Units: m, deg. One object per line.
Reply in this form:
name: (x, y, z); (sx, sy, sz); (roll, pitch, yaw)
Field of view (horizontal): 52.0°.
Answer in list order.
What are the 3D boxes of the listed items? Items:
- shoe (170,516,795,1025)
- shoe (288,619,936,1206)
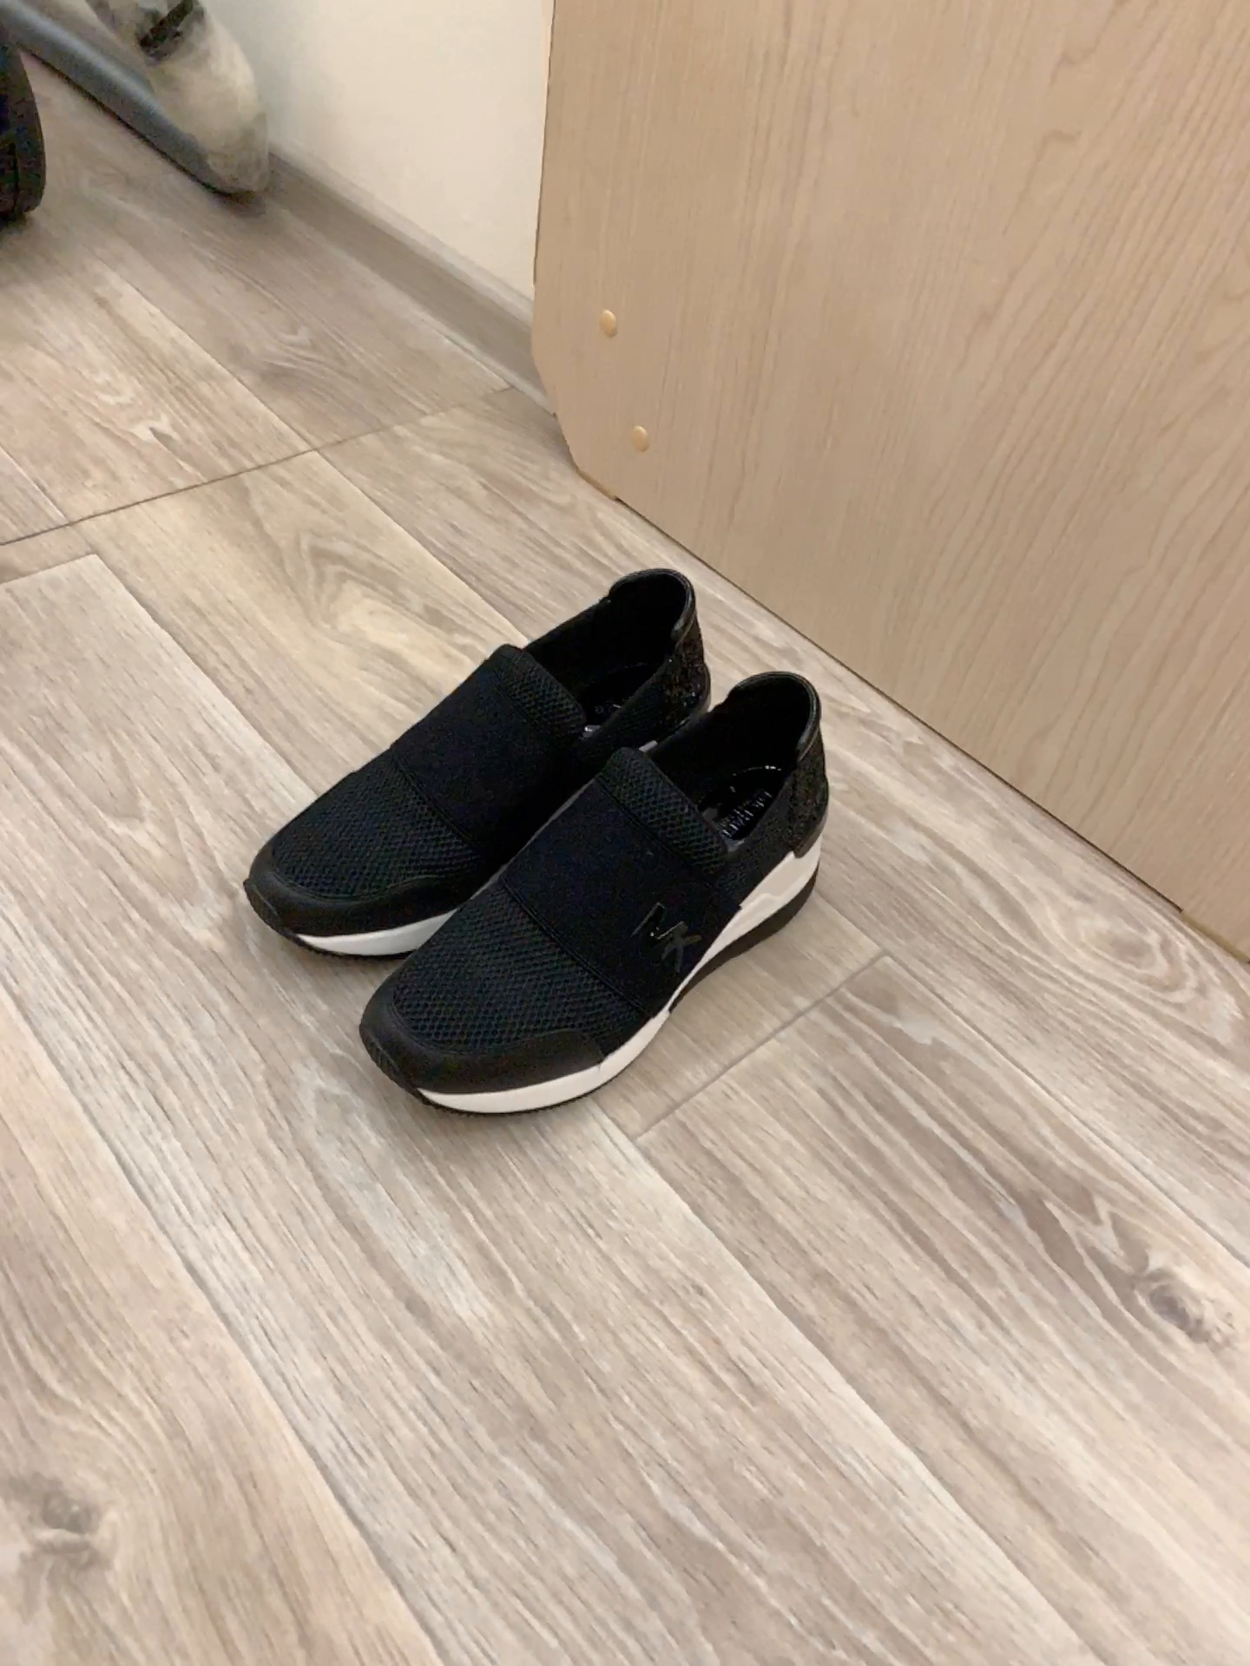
shoe: (-0.060, -0.038, 0.603); (0.261, 0.119, 0.098); (-26, 56, -29)
shoe: (-0.001, 0.024, 0.559); (0.261, 0.119, 0.098); (-29, 58, -30)
